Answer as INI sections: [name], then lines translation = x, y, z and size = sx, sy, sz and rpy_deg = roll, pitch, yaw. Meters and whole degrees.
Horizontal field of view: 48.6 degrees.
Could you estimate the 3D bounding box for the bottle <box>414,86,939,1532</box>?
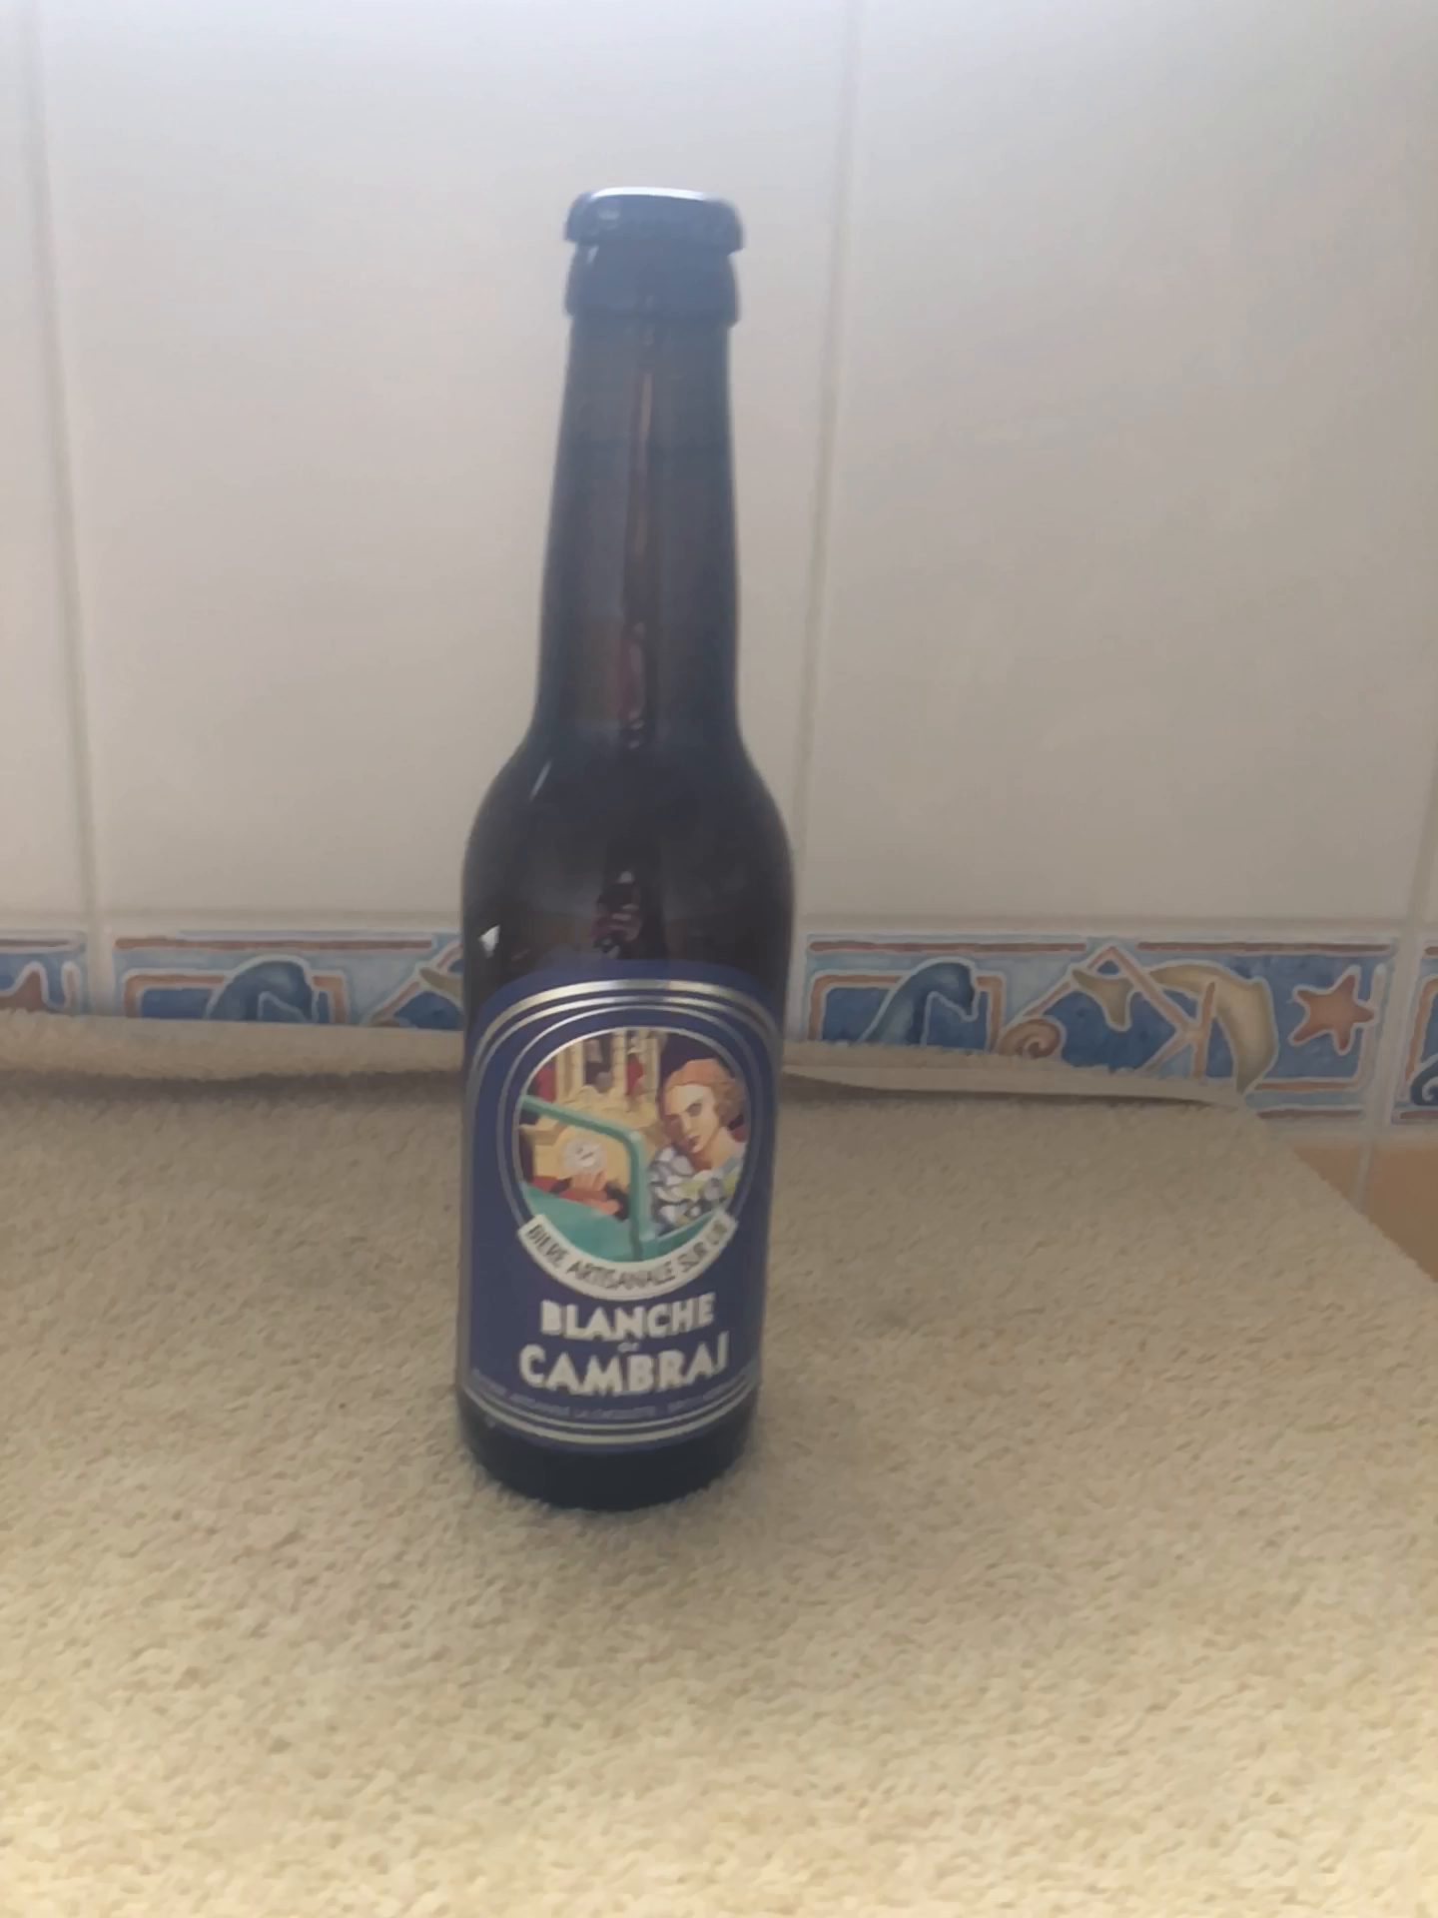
[bottle]
translation = -0.016, -0.019, 0.276
size = 0.070, 0.219, 0.070
rpy_deg = 3, 18, -1
